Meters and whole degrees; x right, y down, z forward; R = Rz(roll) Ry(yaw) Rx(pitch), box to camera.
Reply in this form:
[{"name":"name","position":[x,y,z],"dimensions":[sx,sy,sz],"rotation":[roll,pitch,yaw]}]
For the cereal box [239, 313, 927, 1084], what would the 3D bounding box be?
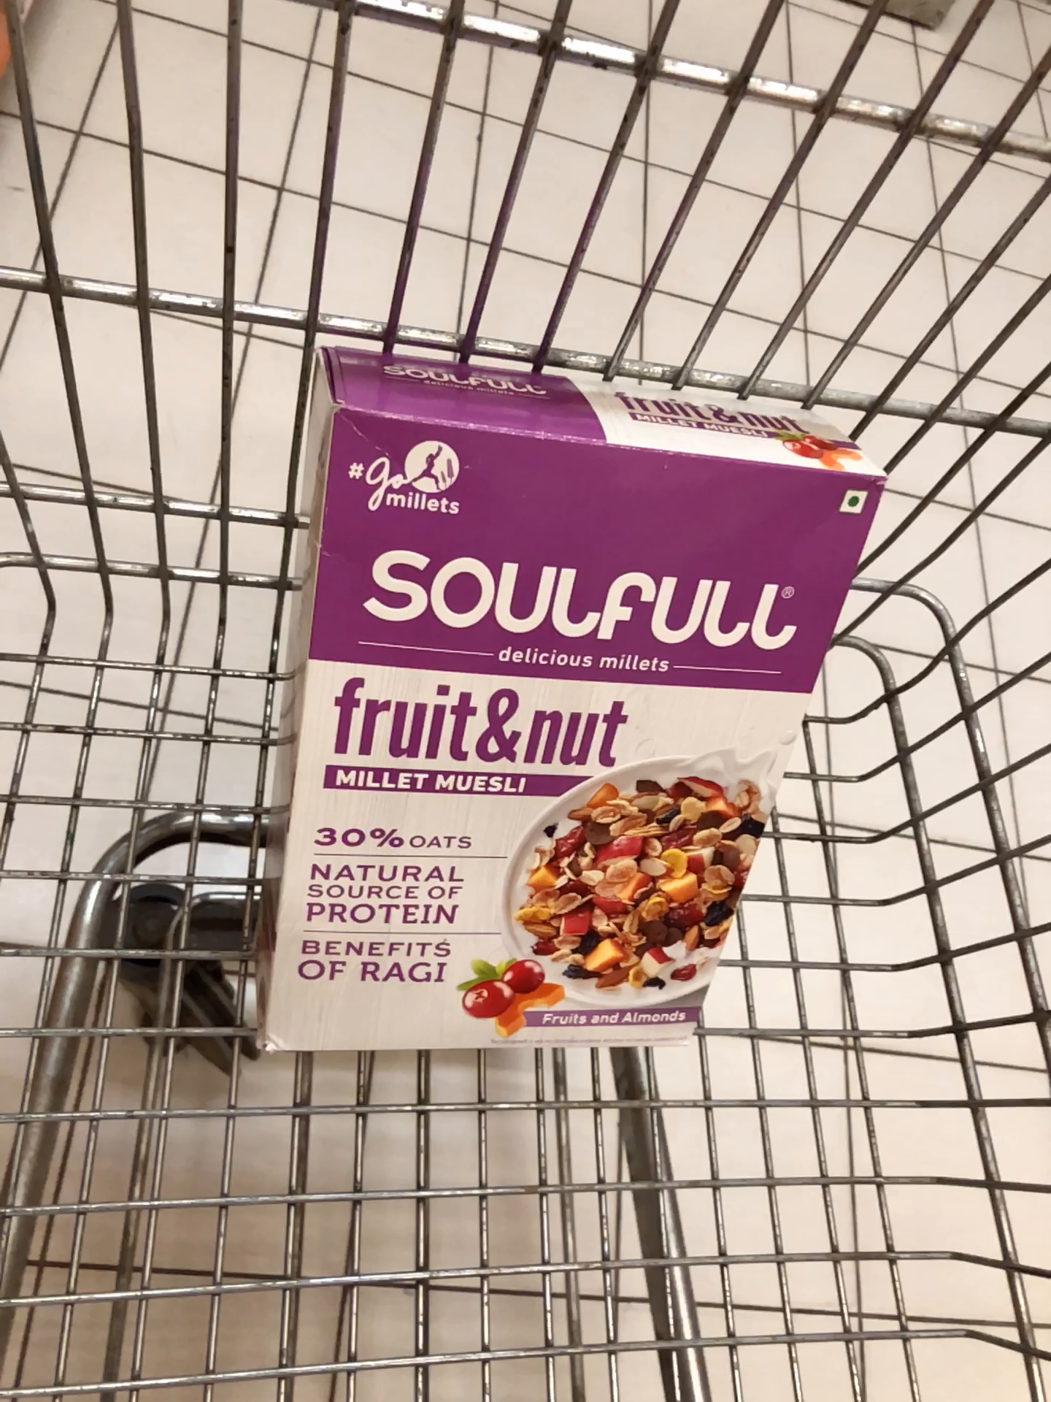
[{"name":"cereal box","position":[0.000,0.013,0.388],"dimensions":[0.170,0.239,0.070],"rotation":[3,30,-16]}]
